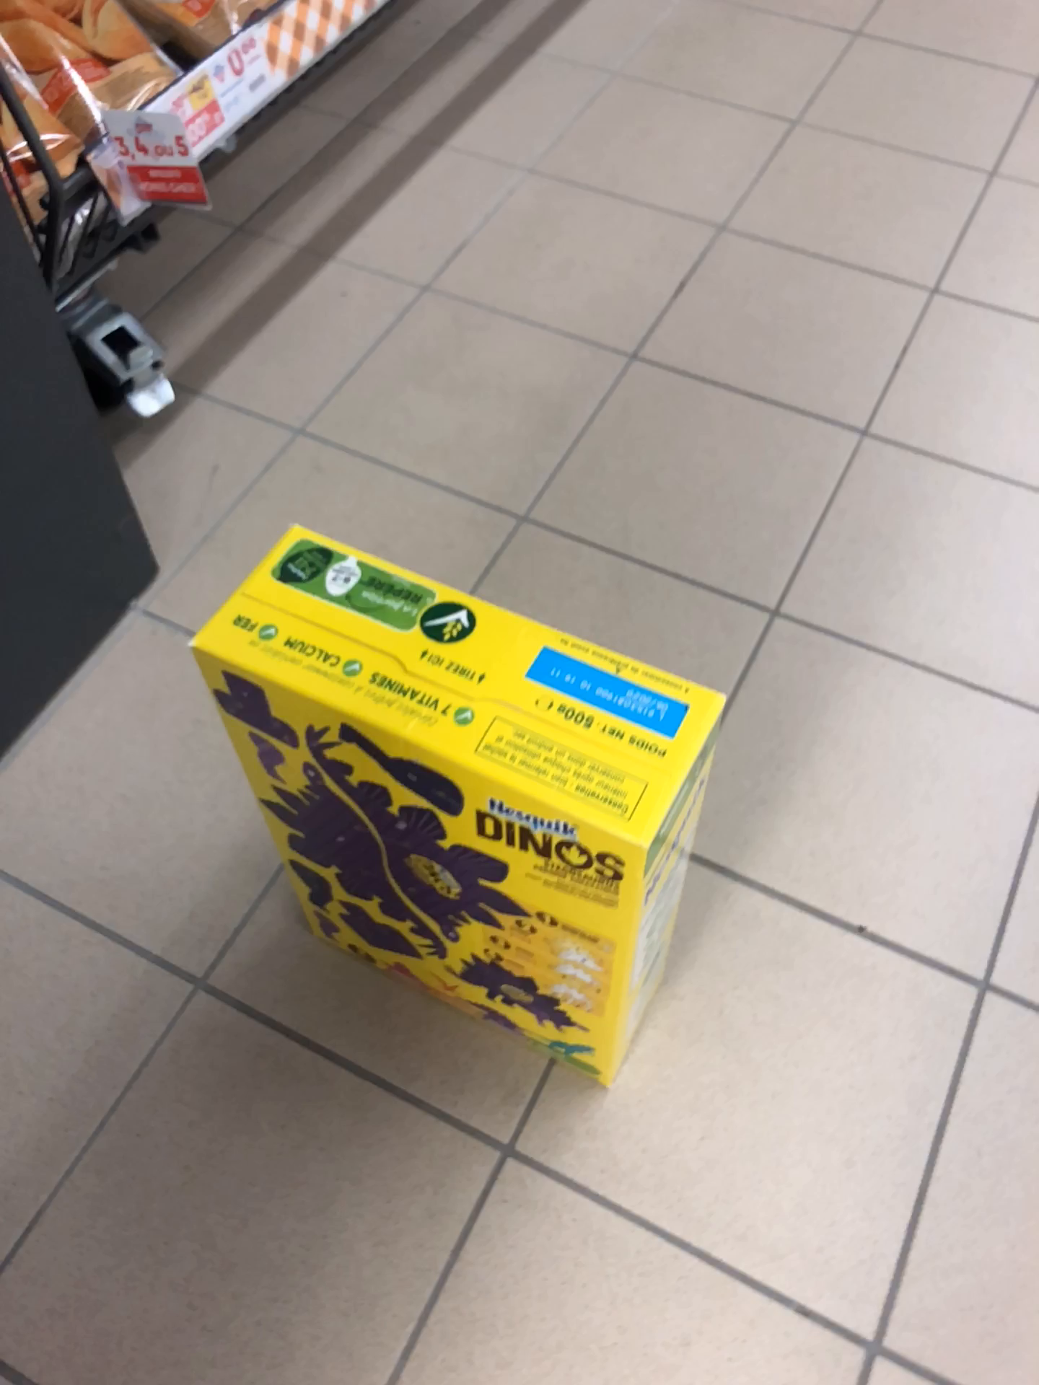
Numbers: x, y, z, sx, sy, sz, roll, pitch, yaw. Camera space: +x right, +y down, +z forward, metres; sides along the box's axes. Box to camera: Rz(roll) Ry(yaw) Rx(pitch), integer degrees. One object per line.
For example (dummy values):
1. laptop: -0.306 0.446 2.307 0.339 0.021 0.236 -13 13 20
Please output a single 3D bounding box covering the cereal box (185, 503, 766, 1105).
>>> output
1. cereal box: -0.018 0.073 0.537 0.200 0.299 0.070 23 59 15
